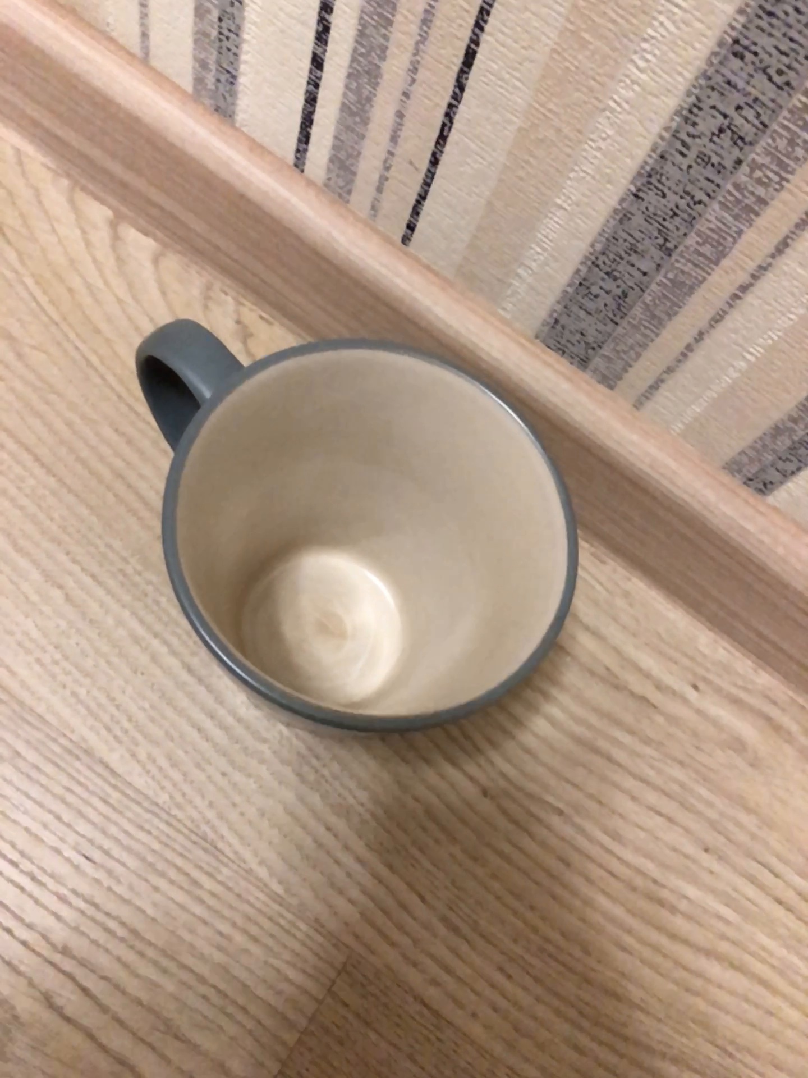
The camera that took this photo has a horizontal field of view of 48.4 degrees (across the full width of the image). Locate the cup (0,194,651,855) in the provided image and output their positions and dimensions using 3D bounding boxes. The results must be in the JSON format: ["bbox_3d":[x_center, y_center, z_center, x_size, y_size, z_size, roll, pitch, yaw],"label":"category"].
[{"bbox_3d":[-0.026,0.000,0.244,0.096,0.089,0.124,-40,82,-26],"label":"cup"}]
